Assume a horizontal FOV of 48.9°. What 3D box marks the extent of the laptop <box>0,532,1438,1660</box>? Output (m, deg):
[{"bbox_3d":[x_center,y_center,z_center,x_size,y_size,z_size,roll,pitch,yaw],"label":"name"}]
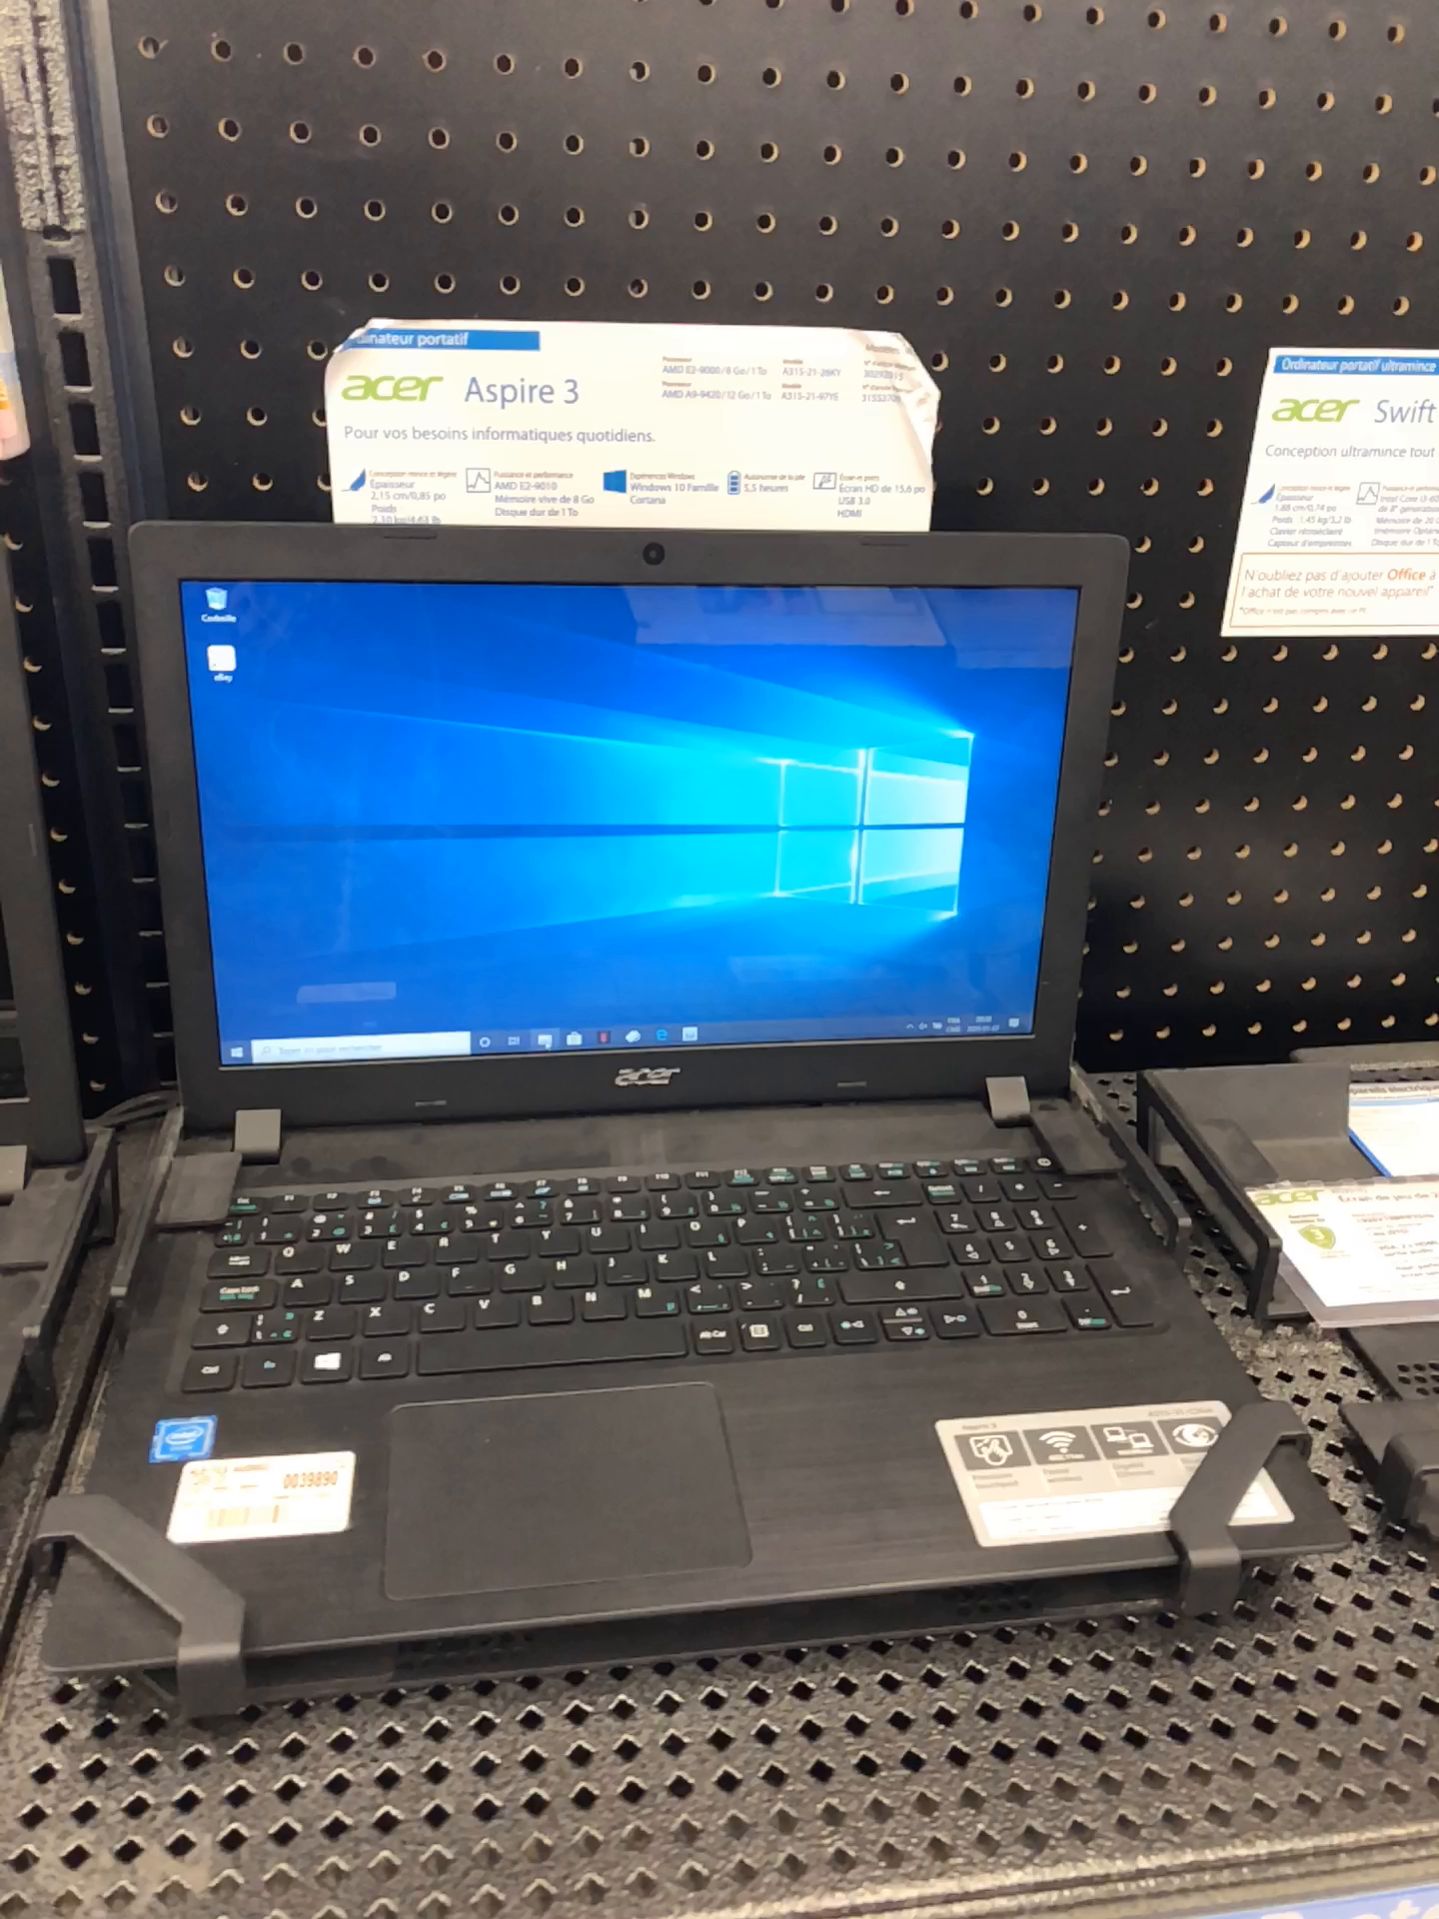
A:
[{"bbox_3d":[-0.013,0.010,0.544,0.386,0.247,0.296,-2,26,-8],"label":"laptop"}]
